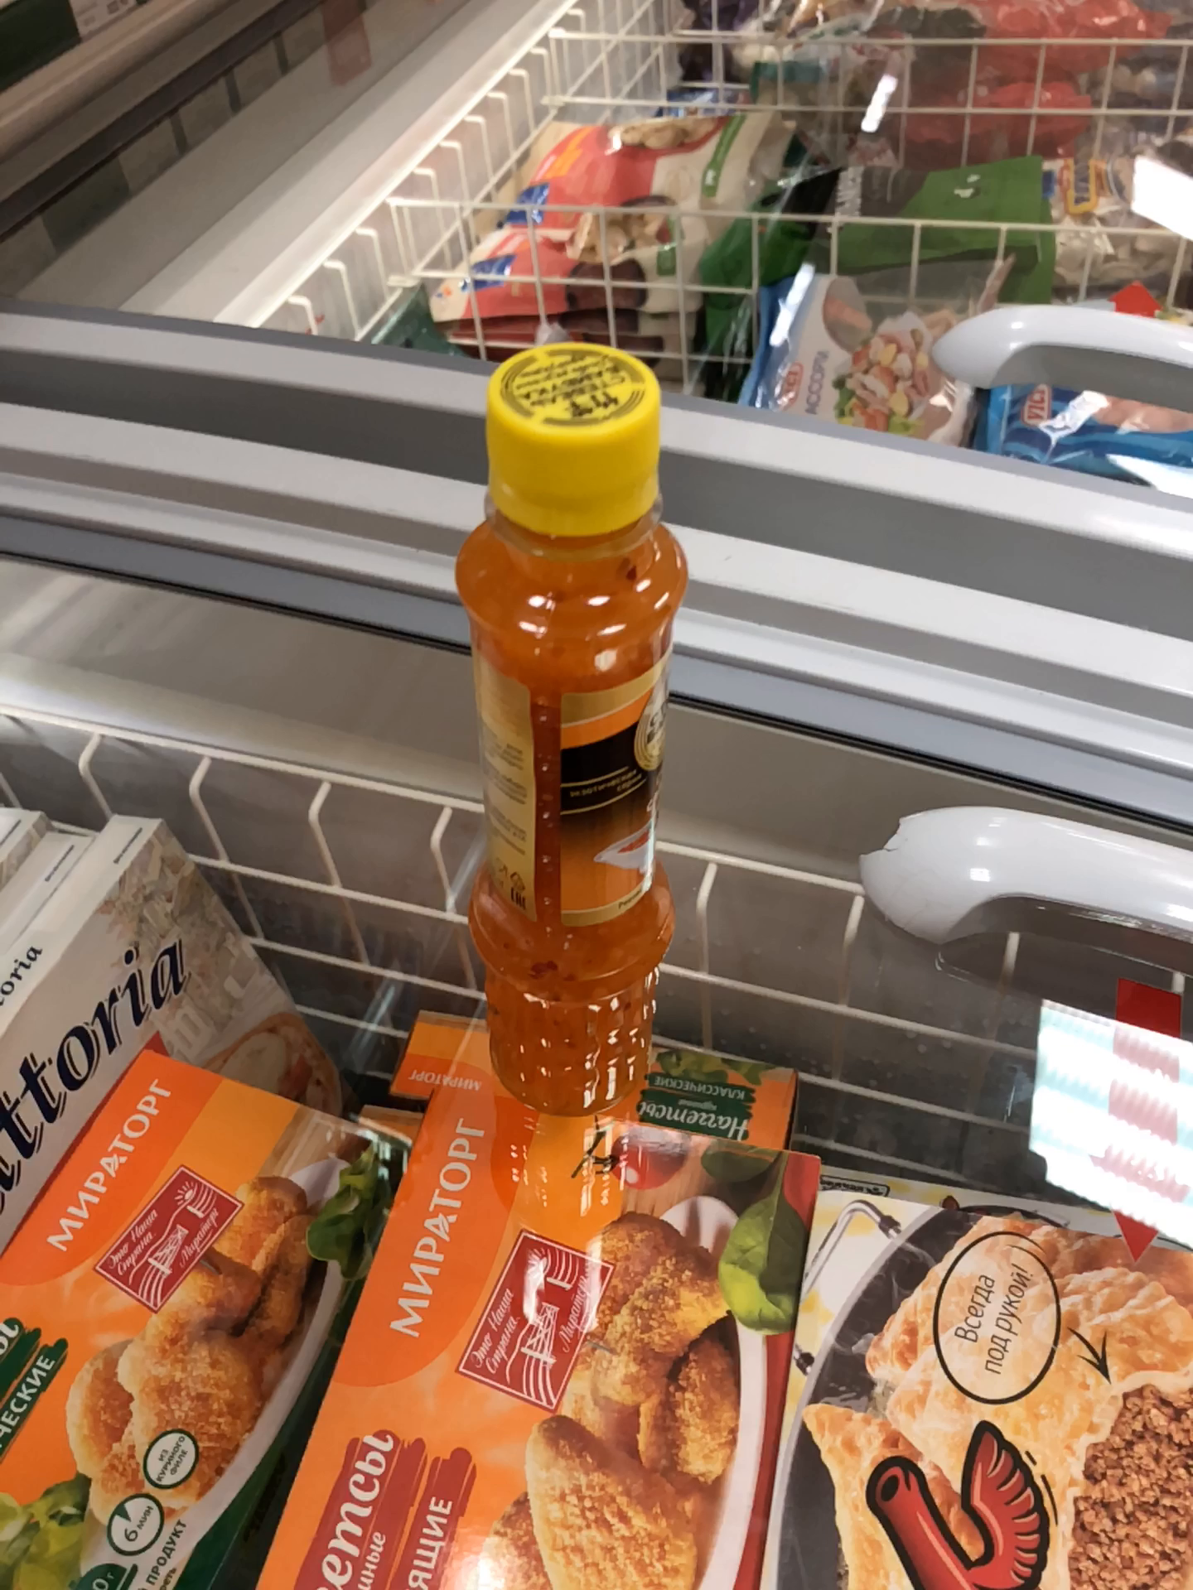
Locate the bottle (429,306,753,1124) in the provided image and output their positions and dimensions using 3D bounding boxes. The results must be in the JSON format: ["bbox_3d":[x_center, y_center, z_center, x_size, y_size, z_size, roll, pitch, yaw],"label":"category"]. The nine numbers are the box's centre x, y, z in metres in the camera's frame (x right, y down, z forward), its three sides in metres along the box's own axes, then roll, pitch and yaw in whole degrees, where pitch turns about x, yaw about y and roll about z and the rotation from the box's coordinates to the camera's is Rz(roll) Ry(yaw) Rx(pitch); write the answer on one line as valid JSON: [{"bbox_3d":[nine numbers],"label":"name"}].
[{"bbox_3d":[-0.003,-0.001,0.294,0.049,0.201,0.051,0,48,0],"label":"bottle"}]
